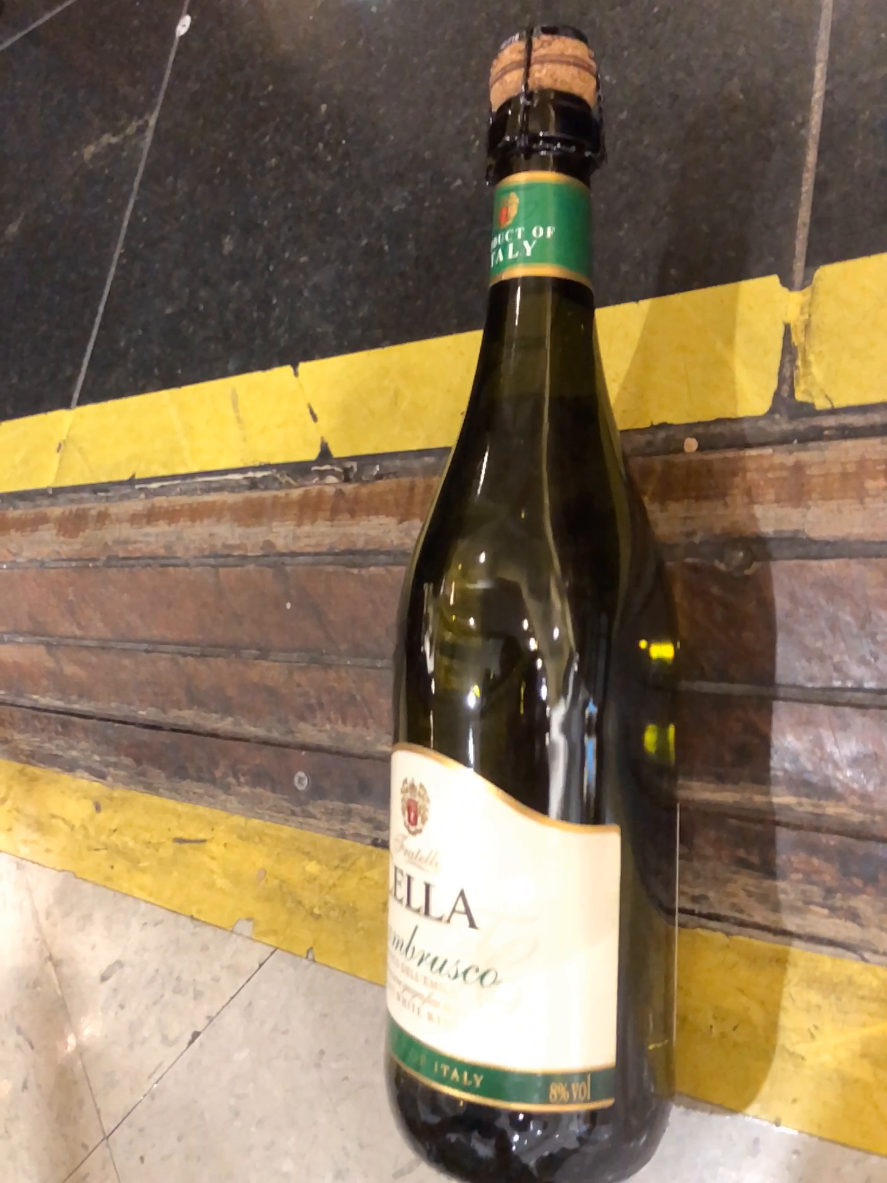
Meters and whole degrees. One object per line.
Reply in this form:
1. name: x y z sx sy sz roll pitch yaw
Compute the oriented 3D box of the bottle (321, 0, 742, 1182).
1. bottle: 0.022 -0.003 0.263 0.090 0.060 0.310 1 91 39
